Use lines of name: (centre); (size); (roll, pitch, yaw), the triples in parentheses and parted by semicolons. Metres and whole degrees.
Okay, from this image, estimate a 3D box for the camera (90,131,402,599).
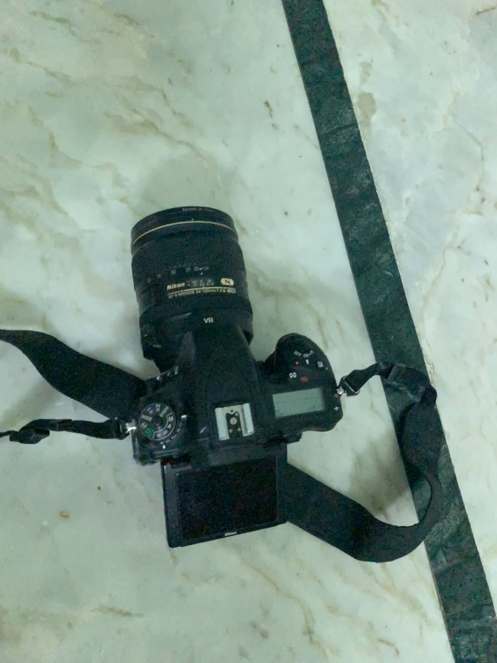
camera: (-0.015, 0.011, 0.342); (0.146, 0.100, 0.258); (-6, 78, -15)
